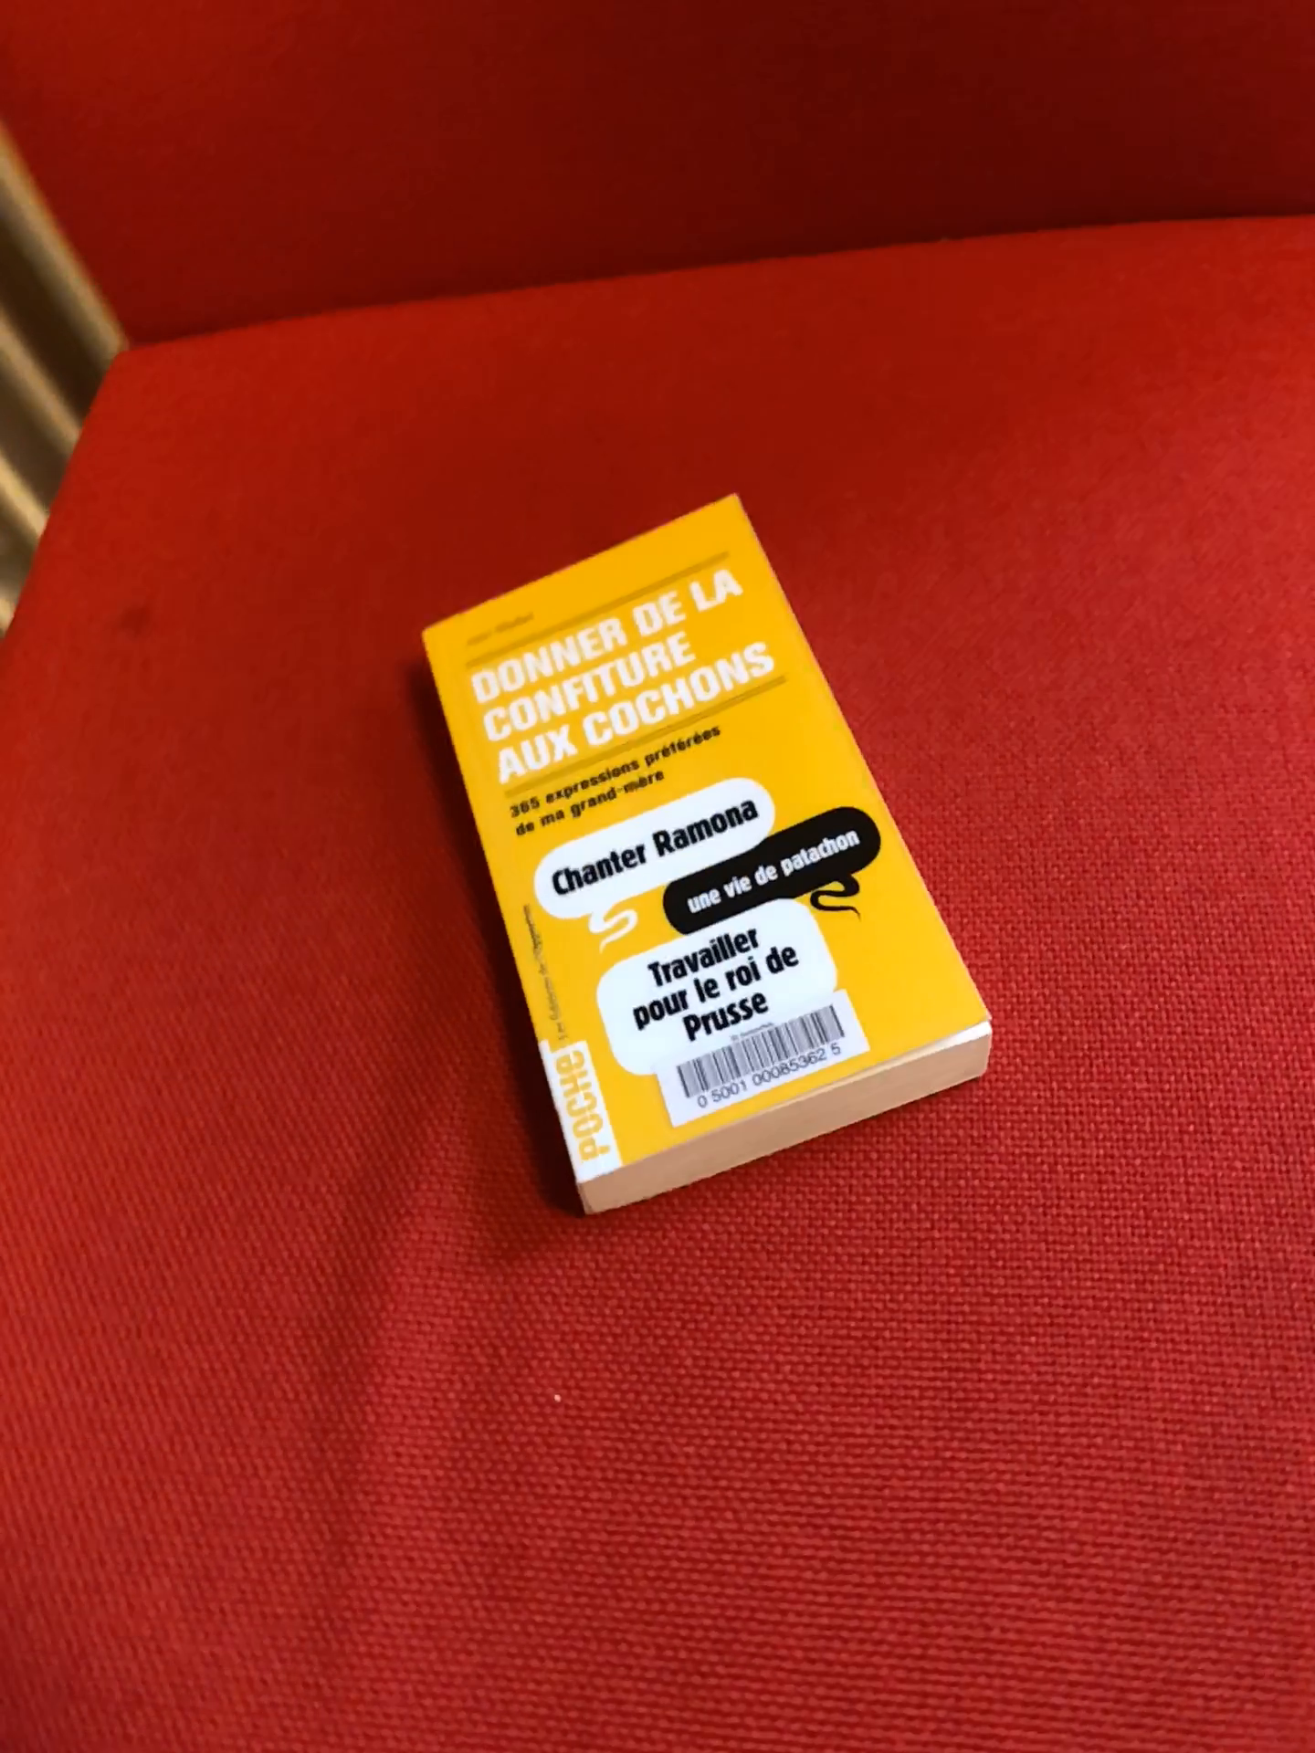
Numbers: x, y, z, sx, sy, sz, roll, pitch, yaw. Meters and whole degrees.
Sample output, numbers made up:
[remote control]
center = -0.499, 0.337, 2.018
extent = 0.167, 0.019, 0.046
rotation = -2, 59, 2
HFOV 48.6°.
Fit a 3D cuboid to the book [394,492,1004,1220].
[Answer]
[book]
center = 0.003, -0.015, 0.384
extent = 0.106, 0.030, 0.181
rotation = -20, 56, -1
